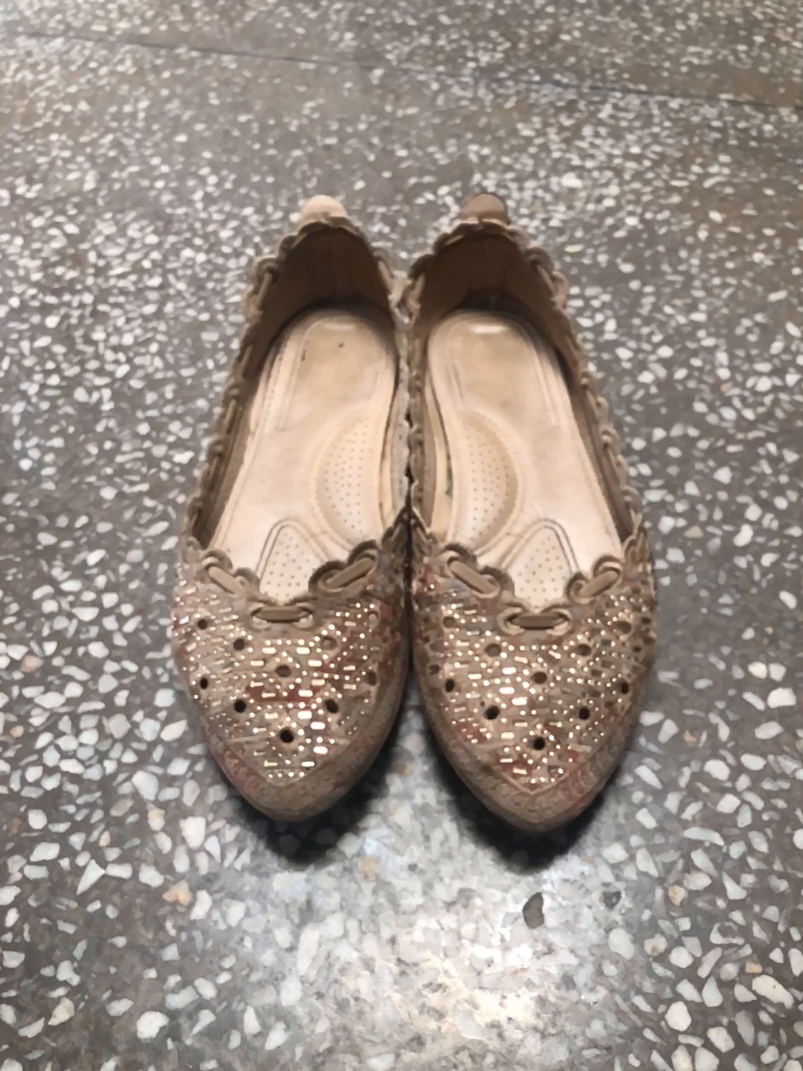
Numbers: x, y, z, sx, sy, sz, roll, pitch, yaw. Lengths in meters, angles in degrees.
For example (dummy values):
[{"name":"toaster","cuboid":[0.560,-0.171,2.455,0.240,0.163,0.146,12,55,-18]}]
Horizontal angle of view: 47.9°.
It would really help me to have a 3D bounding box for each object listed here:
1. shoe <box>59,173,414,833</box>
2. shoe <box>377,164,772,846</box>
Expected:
[{"name":"shoe","cuboid":[-0.041,-0.029,0.333,0.089,0.068,0.255,0,54,1]},{"name":"shoe","cuboid":[0.042,-0.029,0.327,0.089,0.068,0.255,-3,54,-1]}]
